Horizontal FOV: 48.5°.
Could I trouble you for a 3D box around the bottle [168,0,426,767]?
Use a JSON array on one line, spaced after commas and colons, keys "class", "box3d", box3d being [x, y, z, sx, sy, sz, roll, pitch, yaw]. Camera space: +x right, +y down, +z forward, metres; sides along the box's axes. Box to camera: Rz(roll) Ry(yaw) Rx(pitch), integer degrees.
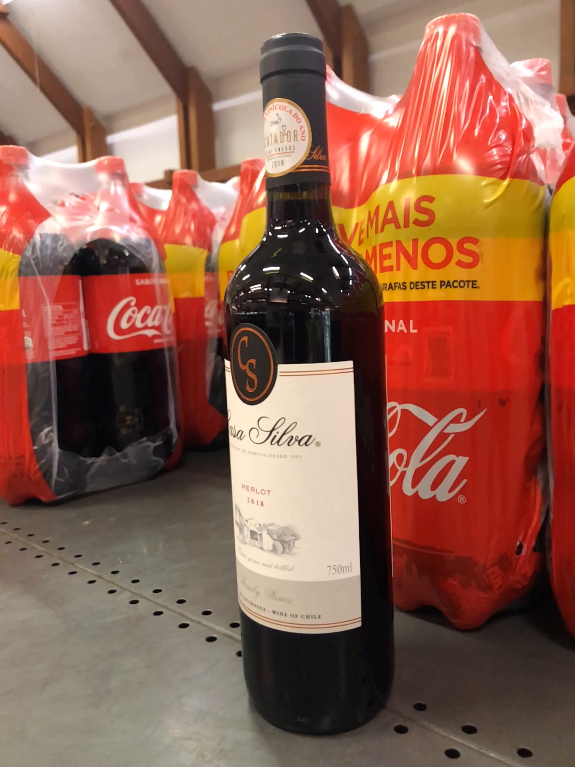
[{"class": "bottle", "box3d": [0.009, 0.003, 0.291, 0.080, 0.309, 0.070, 4, 10, 41]}]
